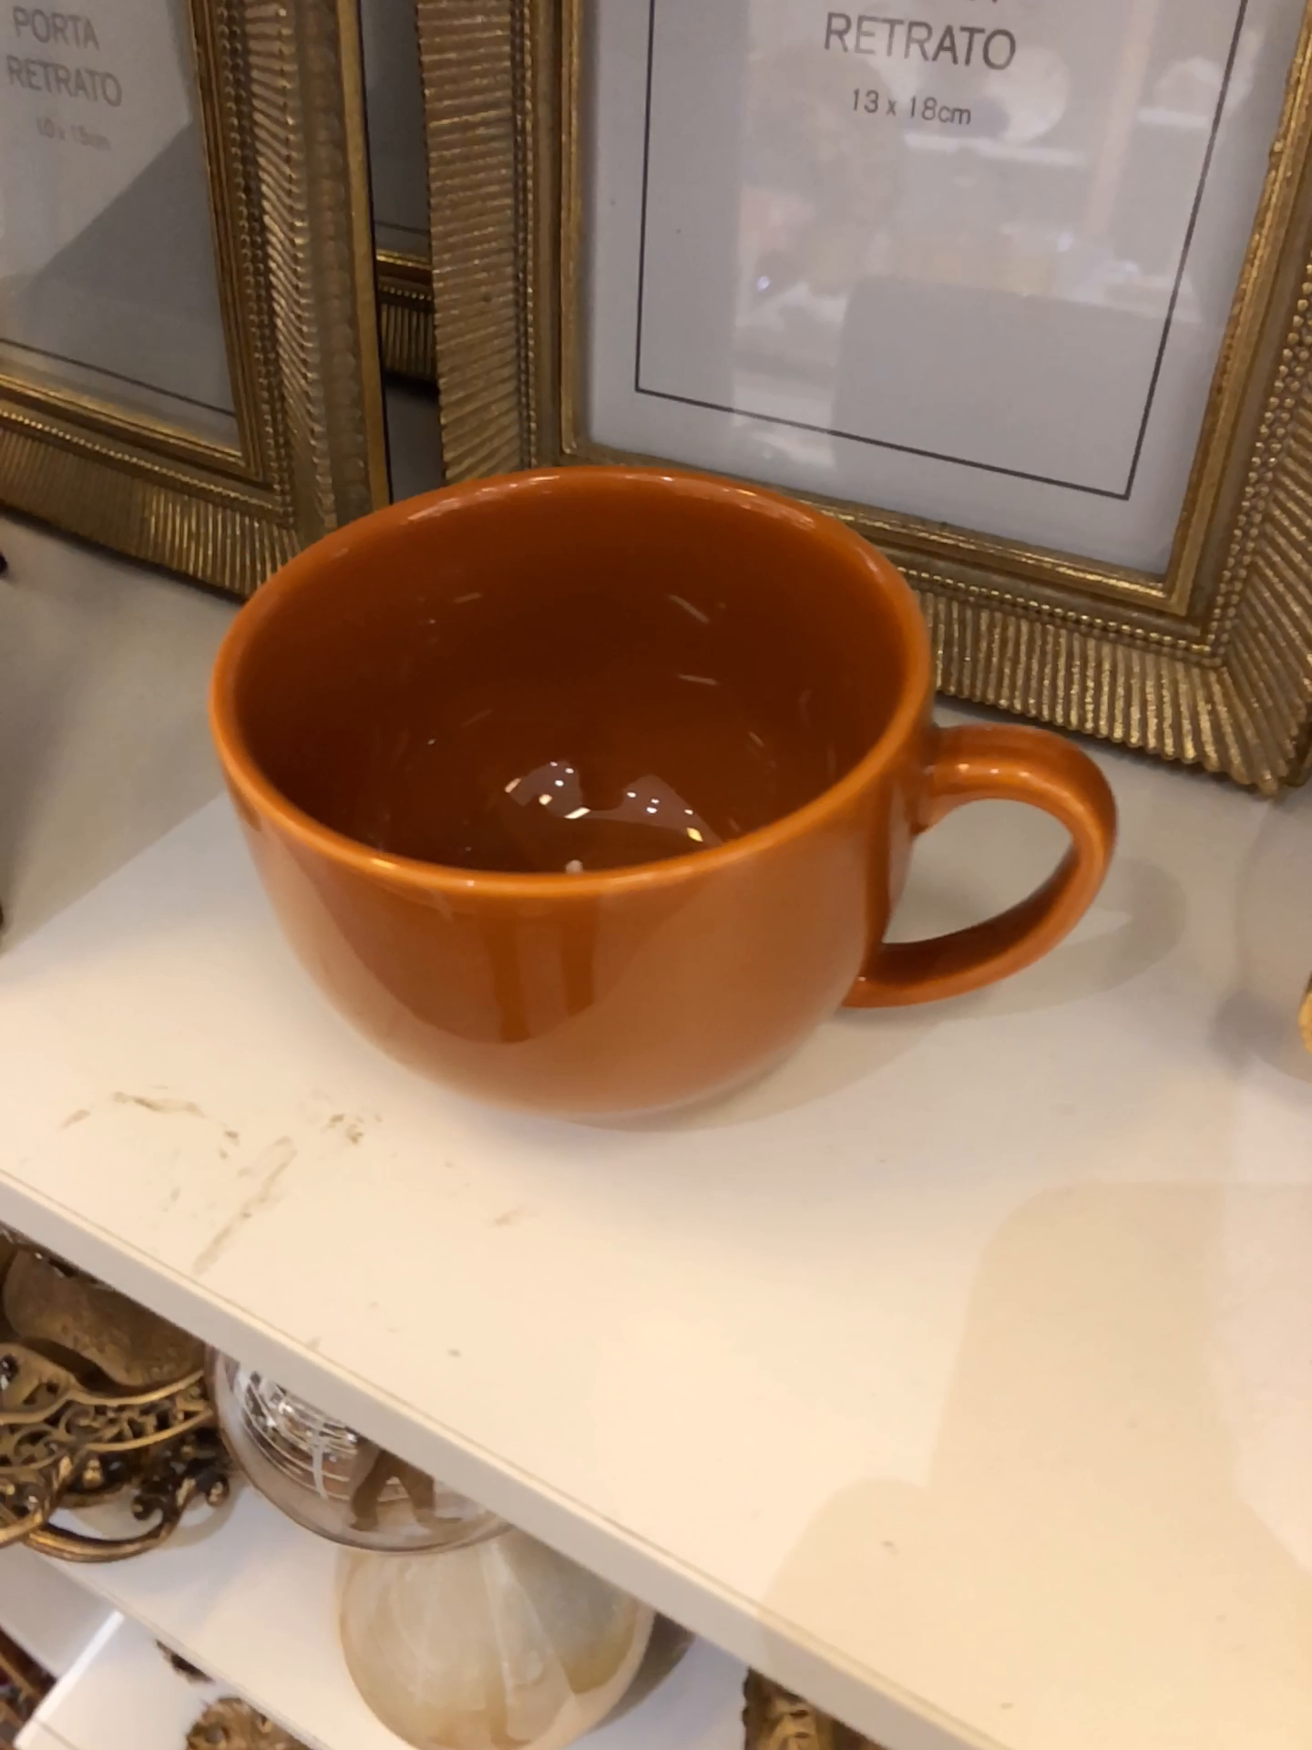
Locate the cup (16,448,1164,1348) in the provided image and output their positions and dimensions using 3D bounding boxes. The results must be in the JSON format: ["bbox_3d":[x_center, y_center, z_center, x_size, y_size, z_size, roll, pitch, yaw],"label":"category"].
[{"bbox_3d":[0.000,-0.004,0.201,0.120,0.060,0.091,9,46,14],"label":"cup"}]
